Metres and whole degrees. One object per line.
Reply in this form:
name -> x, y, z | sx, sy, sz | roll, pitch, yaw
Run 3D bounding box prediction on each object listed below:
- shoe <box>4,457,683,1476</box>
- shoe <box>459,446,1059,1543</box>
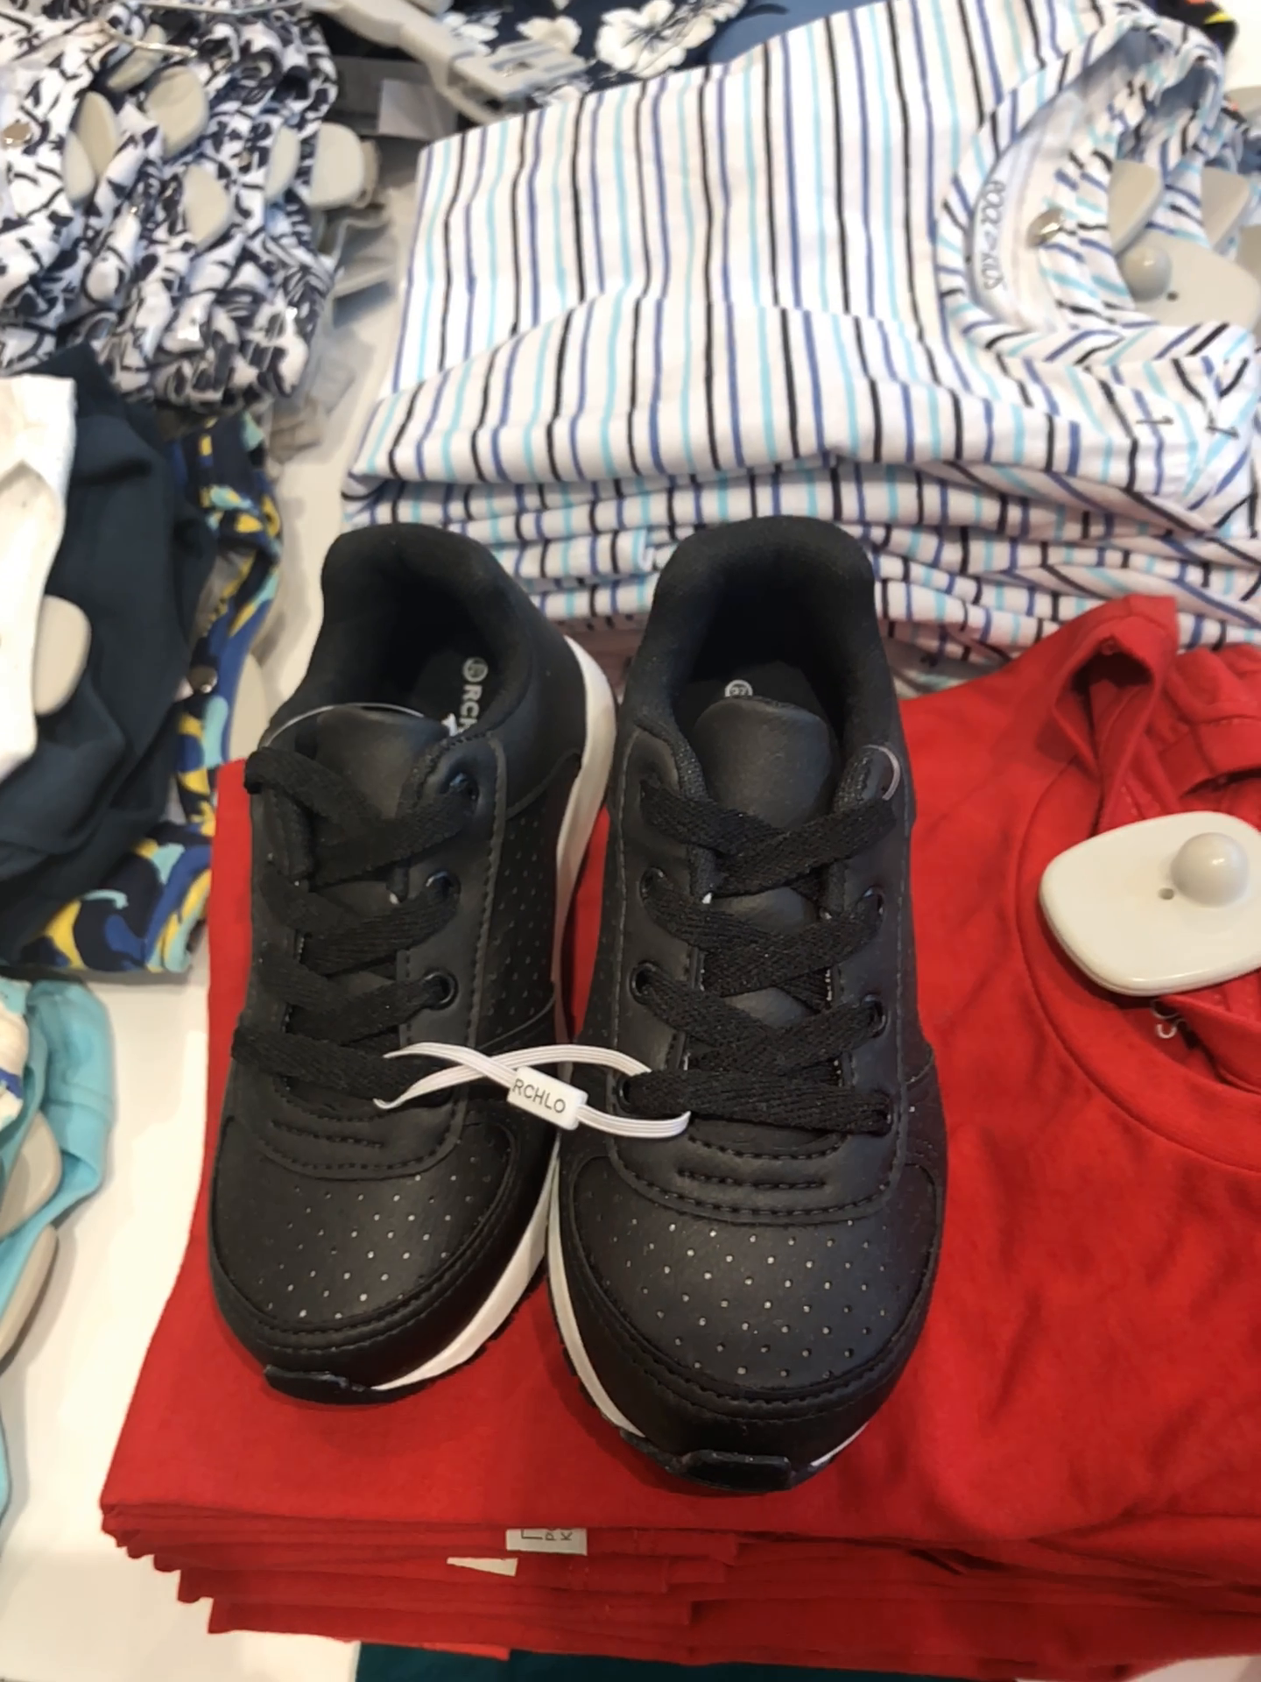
shoe -> -0.040, 0.021, 0.283 | 0.080, 0.080, 0.181 | 5, 62, 6
shoe -> 0.022, 0.024, 0.275 | 0.080, 0.086, 0.191 | 3, 58, 1
